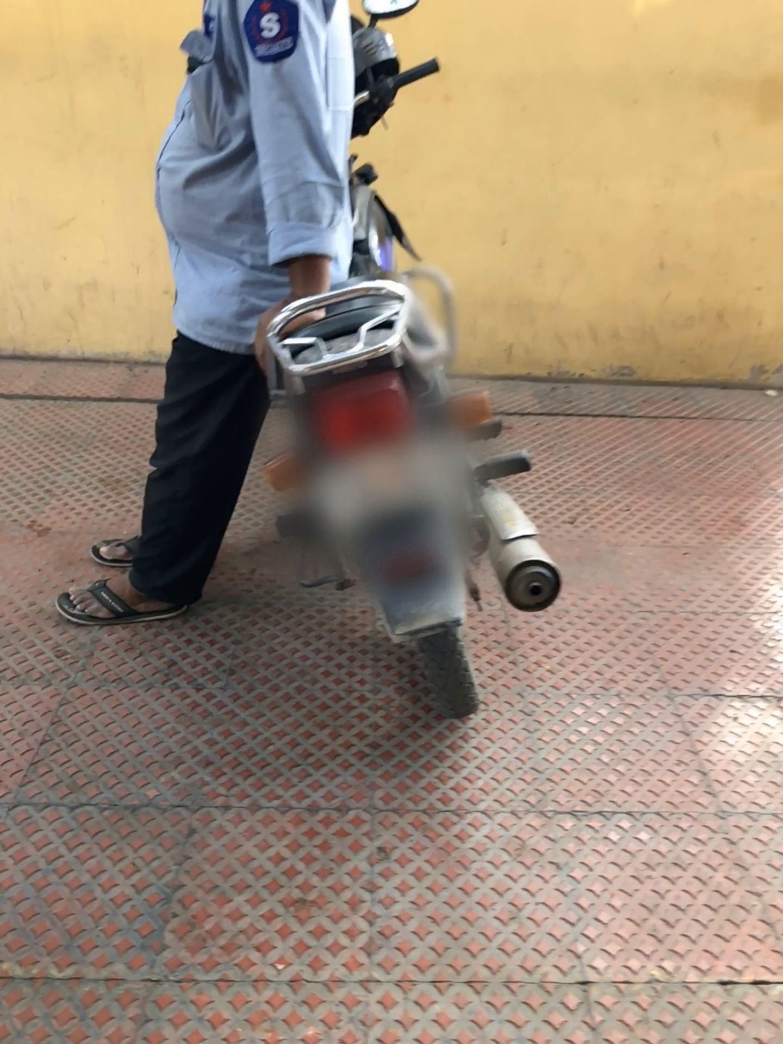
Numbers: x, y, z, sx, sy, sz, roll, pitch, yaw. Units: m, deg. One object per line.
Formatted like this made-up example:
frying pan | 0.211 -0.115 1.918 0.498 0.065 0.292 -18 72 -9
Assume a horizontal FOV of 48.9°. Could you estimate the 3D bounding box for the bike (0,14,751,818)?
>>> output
bike | -0.260 -0.449 1.847 0.921 1.007 1.682 -5 32 -12
